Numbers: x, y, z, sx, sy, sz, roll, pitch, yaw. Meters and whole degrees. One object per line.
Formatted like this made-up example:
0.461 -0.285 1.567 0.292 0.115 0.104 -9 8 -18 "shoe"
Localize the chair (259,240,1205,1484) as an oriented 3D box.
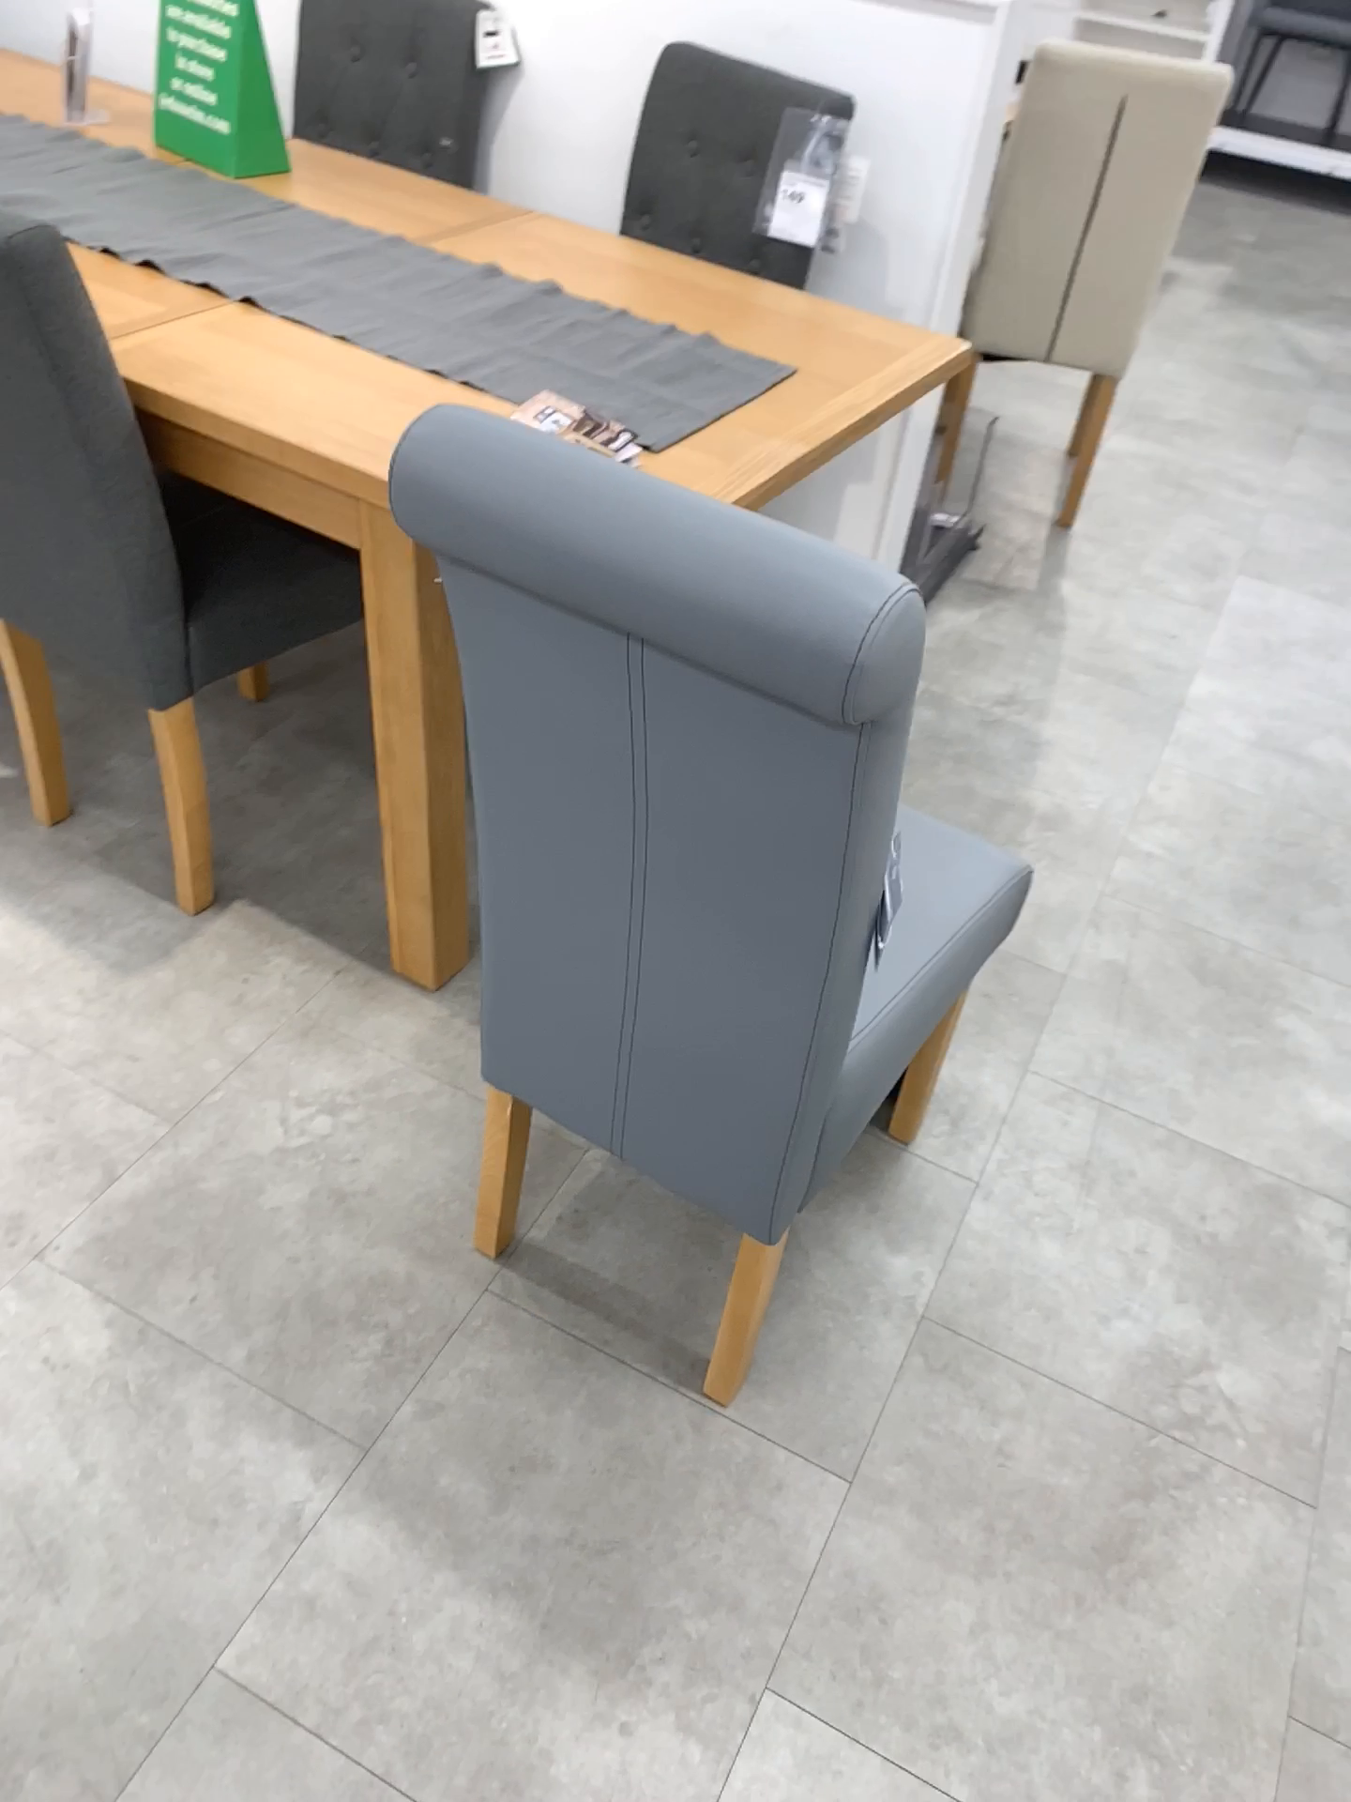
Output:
0.045 -0.043 1.354 0.473 0.906 0.659 25 43 19 "chair"
